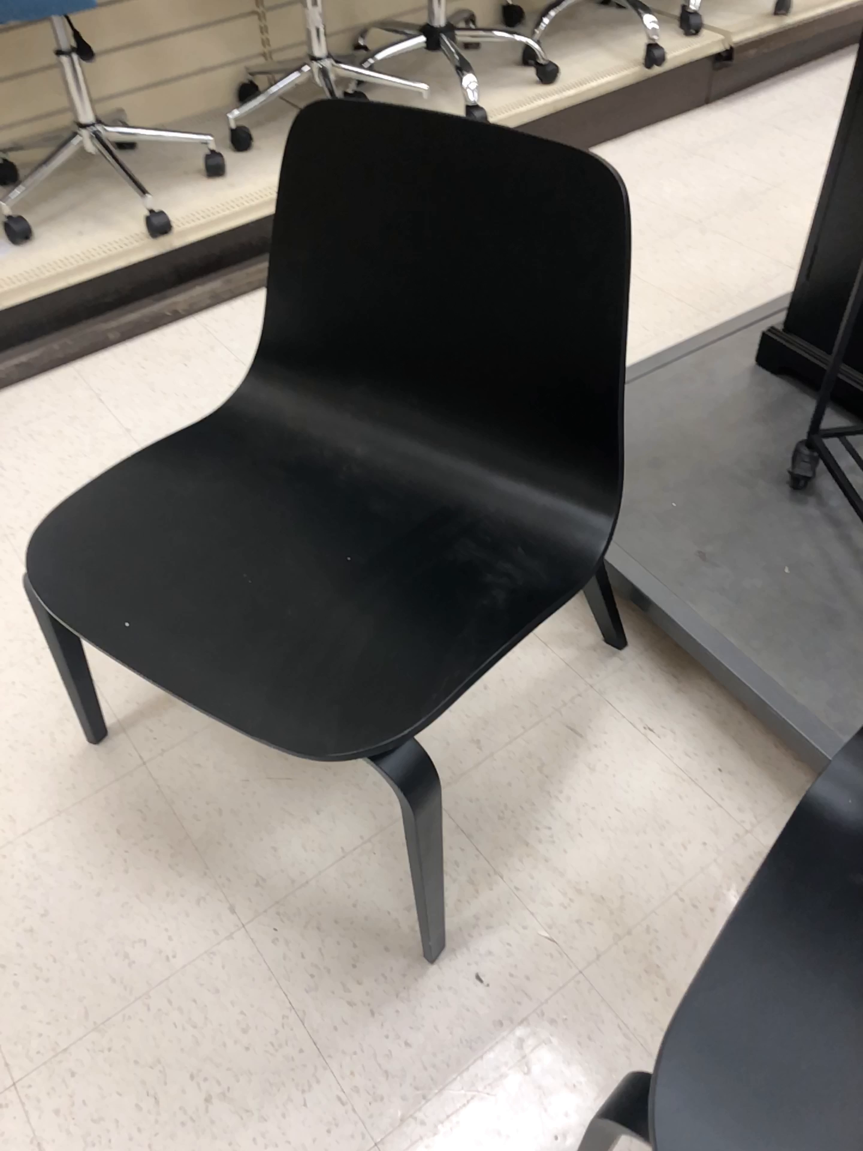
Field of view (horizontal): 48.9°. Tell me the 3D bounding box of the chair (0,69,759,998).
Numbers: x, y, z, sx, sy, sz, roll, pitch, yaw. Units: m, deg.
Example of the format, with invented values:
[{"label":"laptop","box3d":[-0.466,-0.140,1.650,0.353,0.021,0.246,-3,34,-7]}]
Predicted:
[{"label":"chair","box3d":[-0.105,-0.075,1.149,0.641,0.718,0.631,25,53,24]}]
